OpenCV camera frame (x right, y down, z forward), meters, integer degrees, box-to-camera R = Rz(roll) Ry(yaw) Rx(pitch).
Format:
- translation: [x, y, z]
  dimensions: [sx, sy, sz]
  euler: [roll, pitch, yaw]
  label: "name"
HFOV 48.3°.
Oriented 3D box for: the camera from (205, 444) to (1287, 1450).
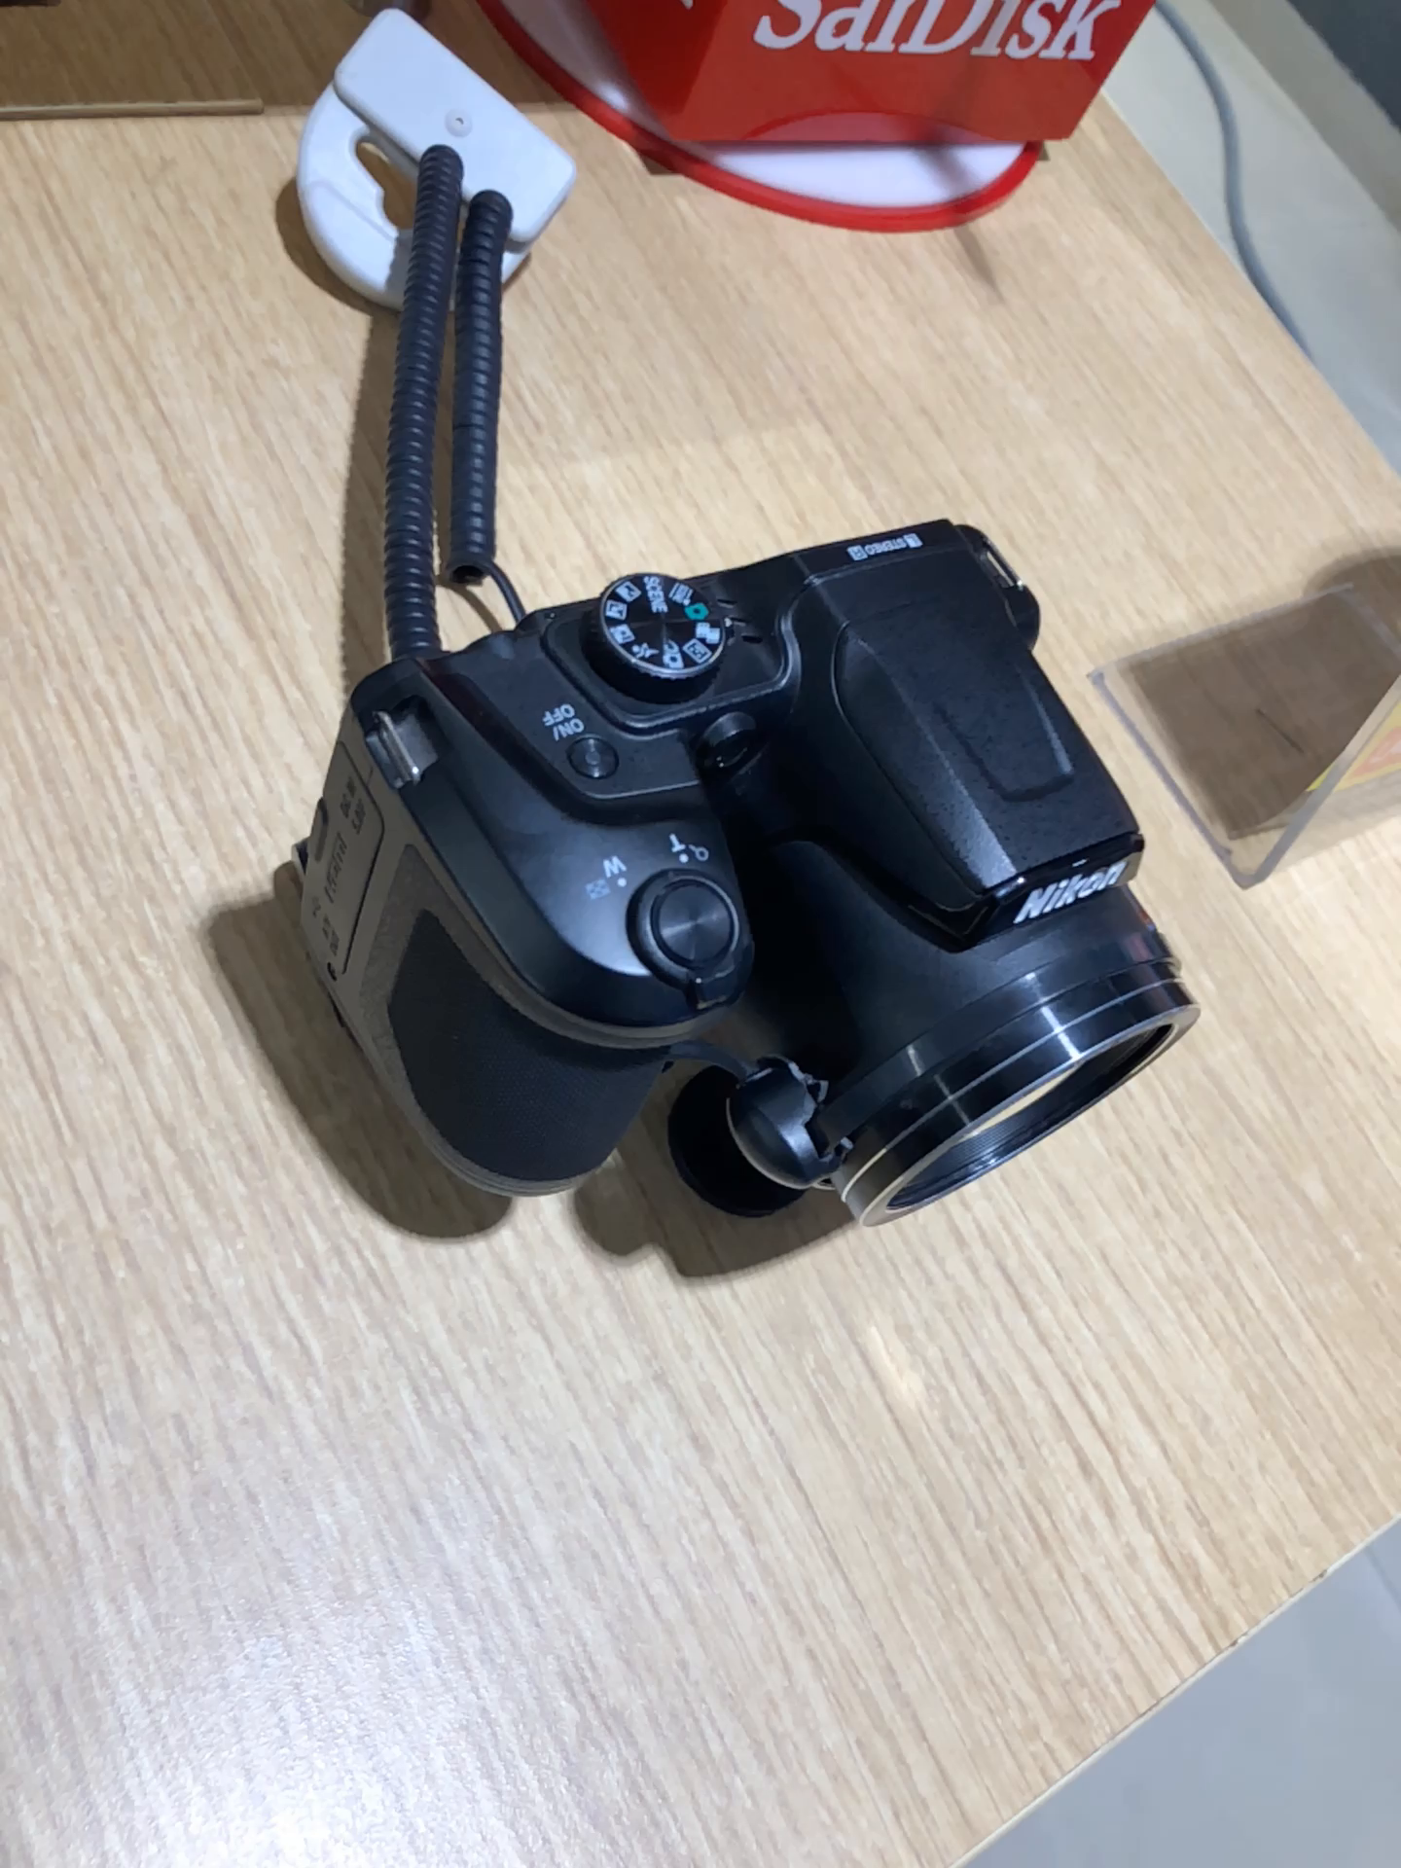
- translation: [0.002, -0.002, 0.221]
  dimensions: [0.103, 0.070, 0.093]
  euler: [-22, 72, -31]
  label: "camera"
